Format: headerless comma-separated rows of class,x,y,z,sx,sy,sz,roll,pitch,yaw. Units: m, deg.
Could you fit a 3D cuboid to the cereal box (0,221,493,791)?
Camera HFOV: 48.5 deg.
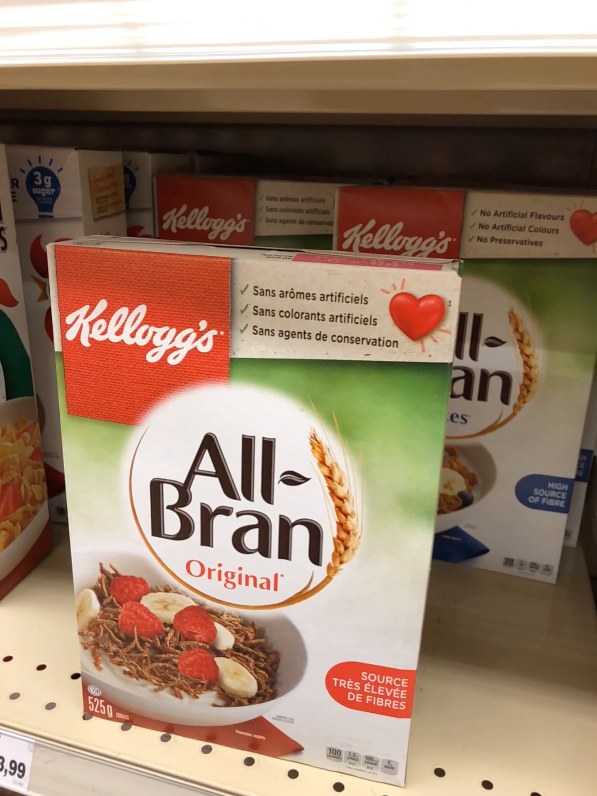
cereal box,-0.024,0.048,0.305,0.190,0.239,0.050,6,20,13
